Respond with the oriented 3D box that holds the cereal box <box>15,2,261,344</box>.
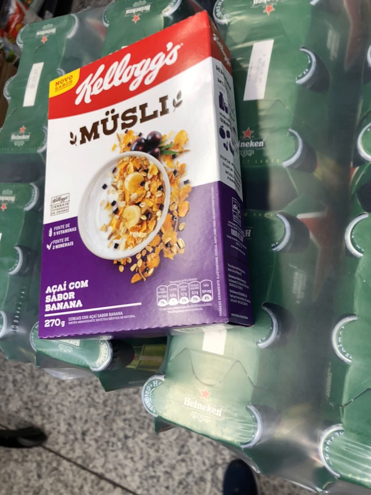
[{"bbox_3d":[-0.038,-0.038,0.272,0.150,0.040,0.190,-10,73,27],"label":"cereal box"}]
